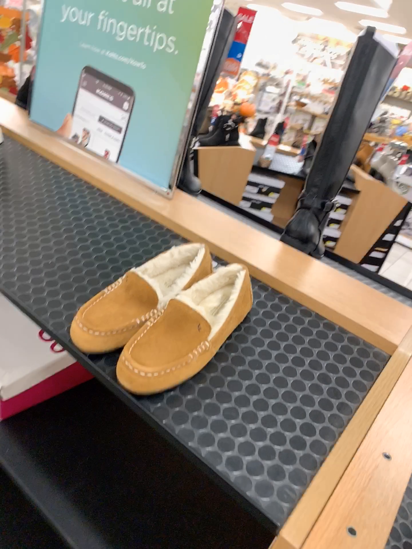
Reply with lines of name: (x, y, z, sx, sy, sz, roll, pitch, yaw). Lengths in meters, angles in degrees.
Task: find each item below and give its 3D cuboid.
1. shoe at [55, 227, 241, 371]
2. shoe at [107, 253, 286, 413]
shoe: (-0.069, 0.019, 0.603, 0.090, 0.060, 0.271, 31, 41, 27)
shoe: (-0.002, 0.061, 0.559, 0.090, 0.060, 0.251, 31, 41, 27)
